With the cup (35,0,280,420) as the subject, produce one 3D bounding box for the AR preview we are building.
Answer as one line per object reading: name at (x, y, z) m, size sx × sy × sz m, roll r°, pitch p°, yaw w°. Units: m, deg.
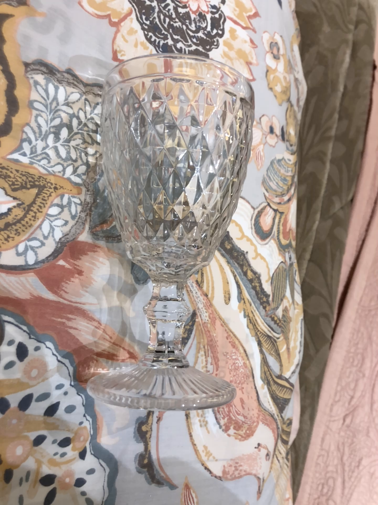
cup at (-0.014, -0.014, 0.222) m, size 0.091 × 0.079 × 0.170 m, roll 10°, pitch 76°, yaw -40°
